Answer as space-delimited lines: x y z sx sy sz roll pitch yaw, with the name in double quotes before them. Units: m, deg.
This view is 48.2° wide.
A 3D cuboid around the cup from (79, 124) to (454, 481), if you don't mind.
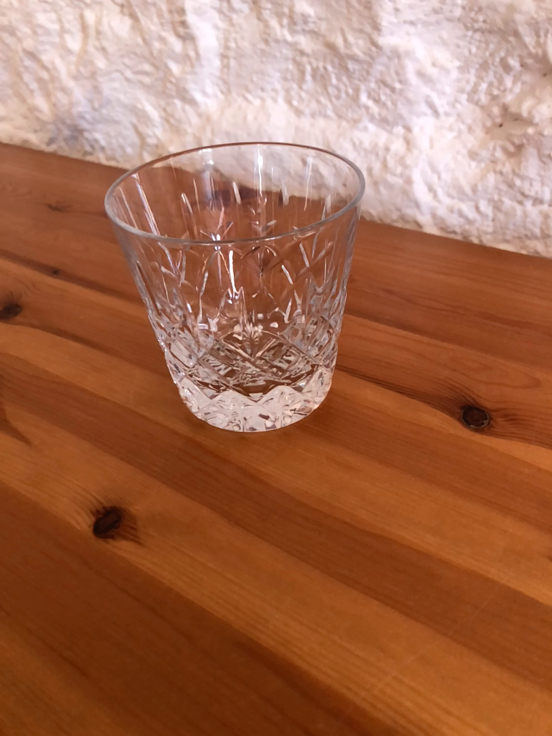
"cup" 0.001 -0.027 0.198 0.077 0.068 0.077 -3 38 2
